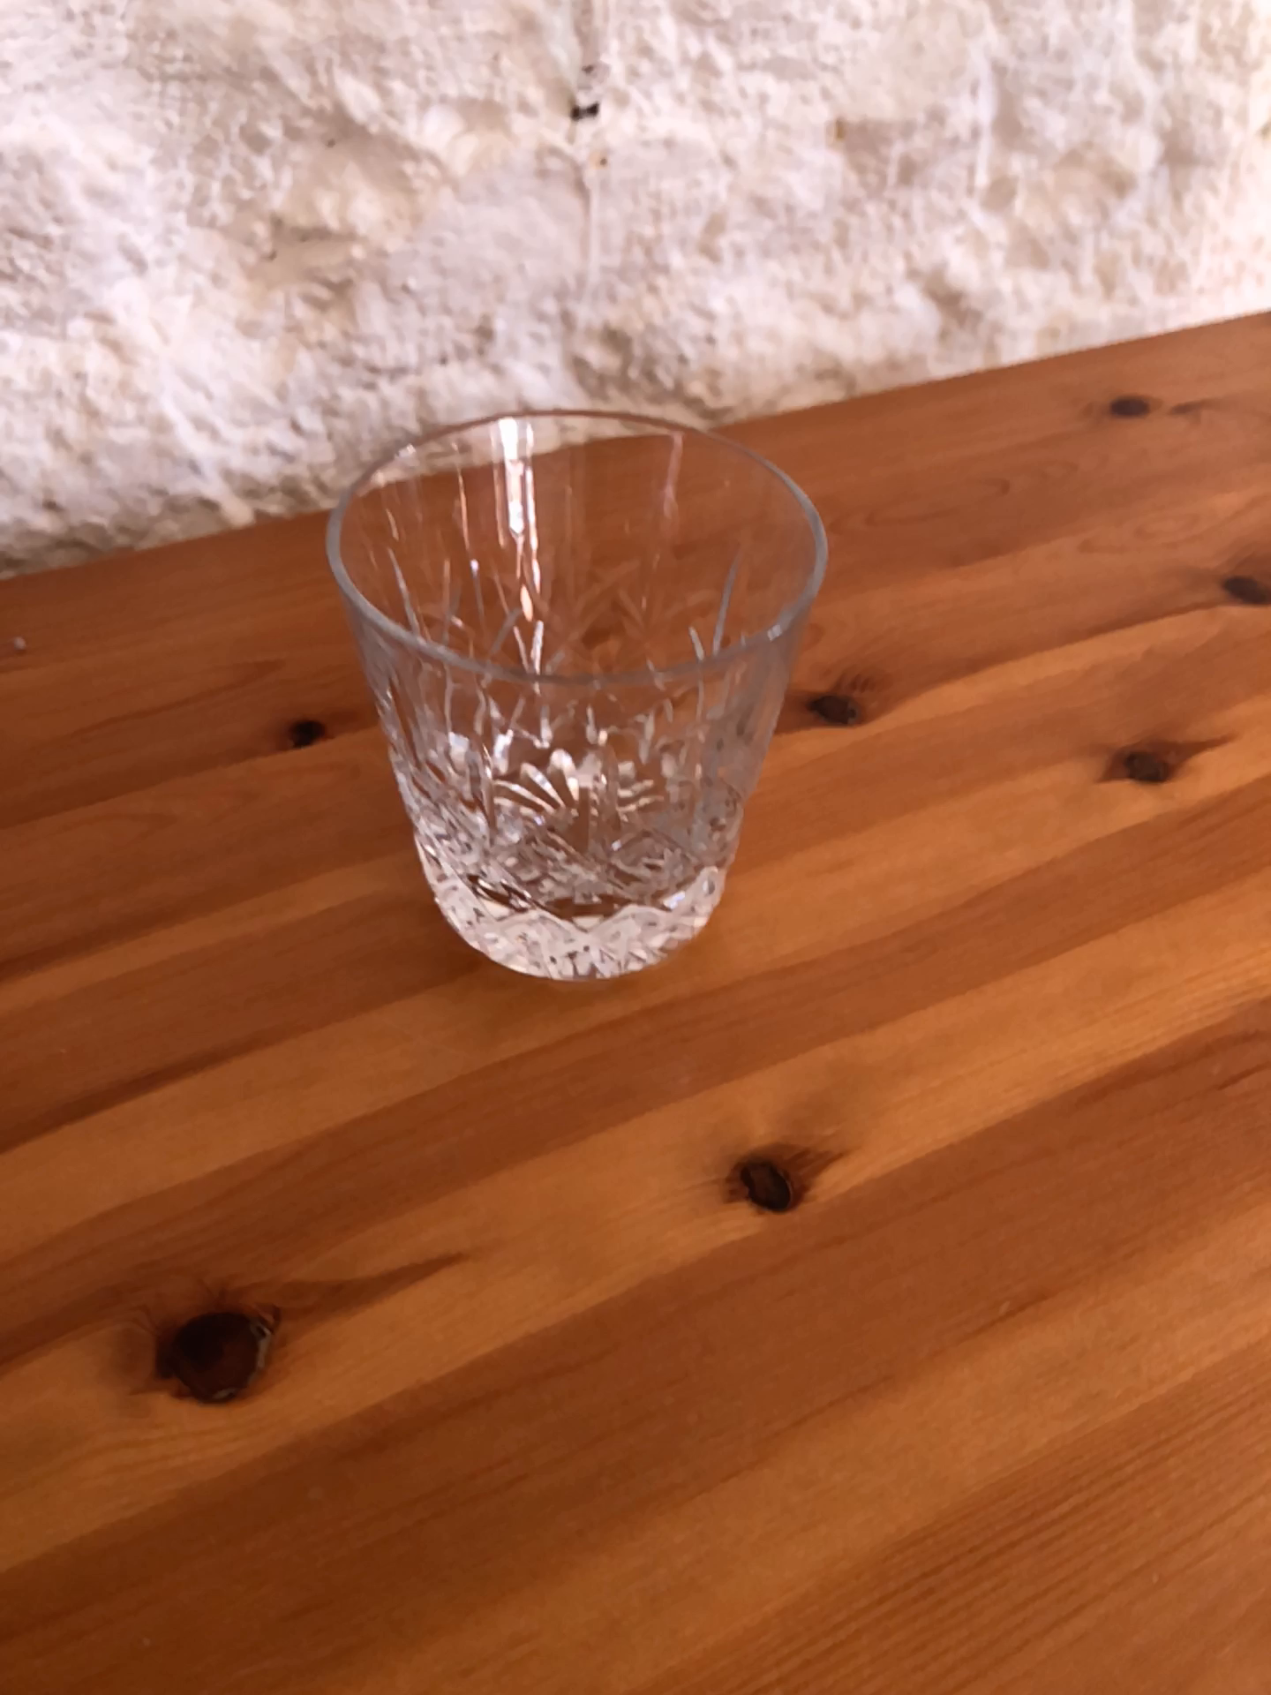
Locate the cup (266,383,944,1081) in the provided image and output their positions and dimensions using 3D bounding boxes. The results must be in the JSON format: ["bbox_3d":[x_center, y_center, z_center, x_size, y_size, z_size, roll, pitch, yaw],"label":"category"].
[{"bbox_3d":[-0.009,-0.023,0.236,0.078,0.068,0.077,3,44,-2],"label":"cup"}]
